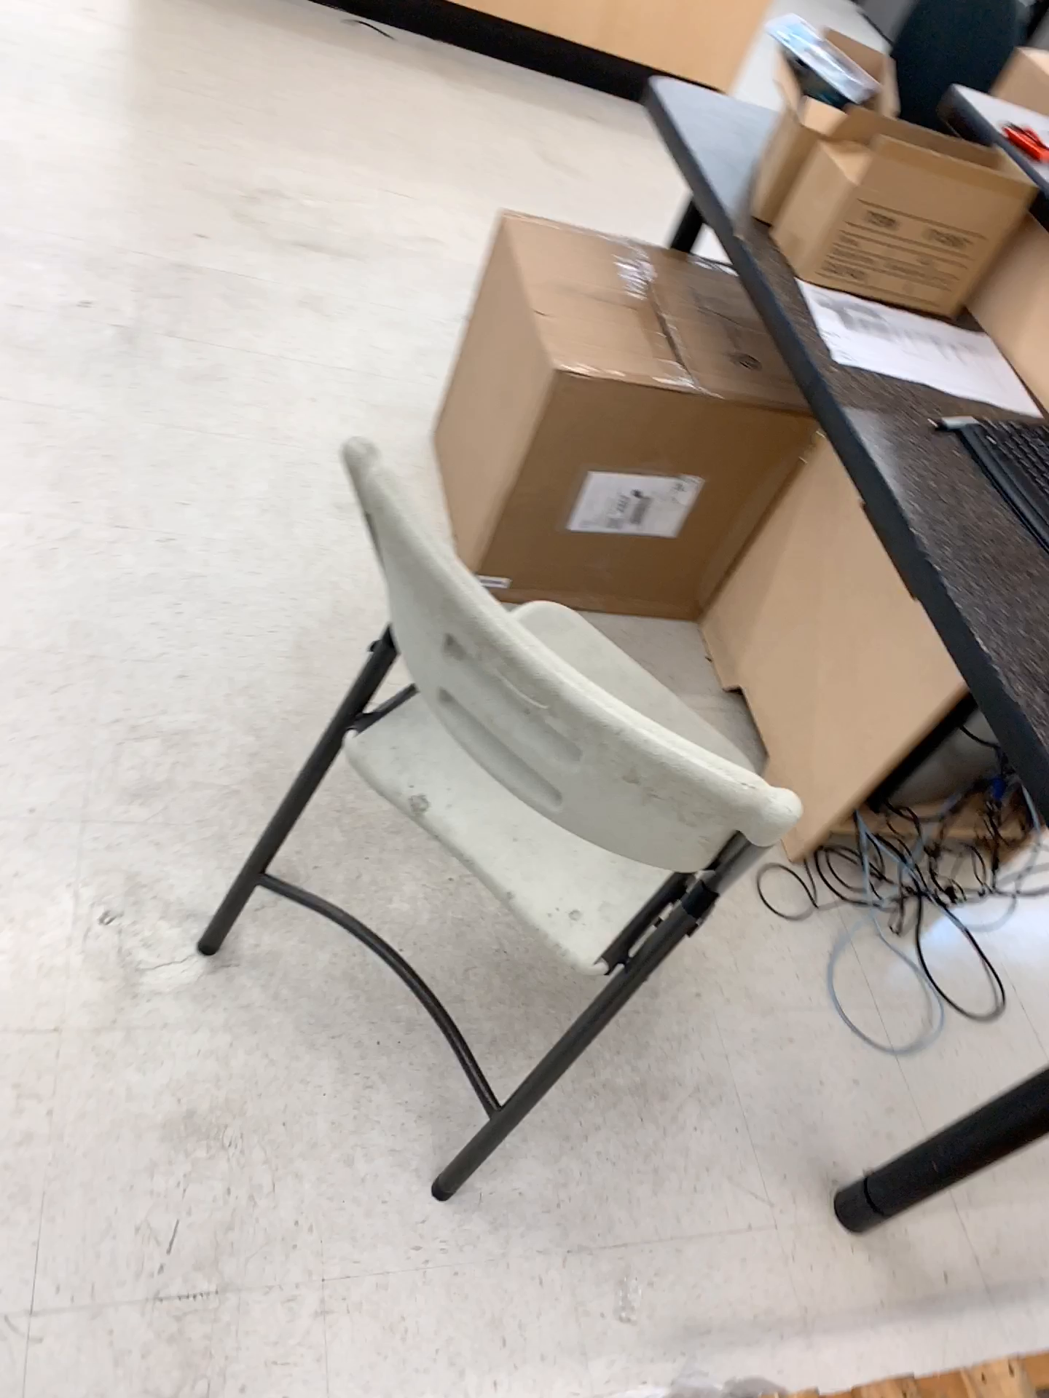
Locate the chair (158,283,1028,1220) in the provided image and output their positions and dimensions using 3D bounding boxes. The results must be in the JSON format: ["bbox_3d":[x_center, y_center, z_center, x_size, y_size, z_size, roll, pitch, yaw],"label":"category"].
[{"bbox_3d":[0.021,0.066,1.202,0.530,0.747,0.562,41,47,13],"label":"chair"}]
